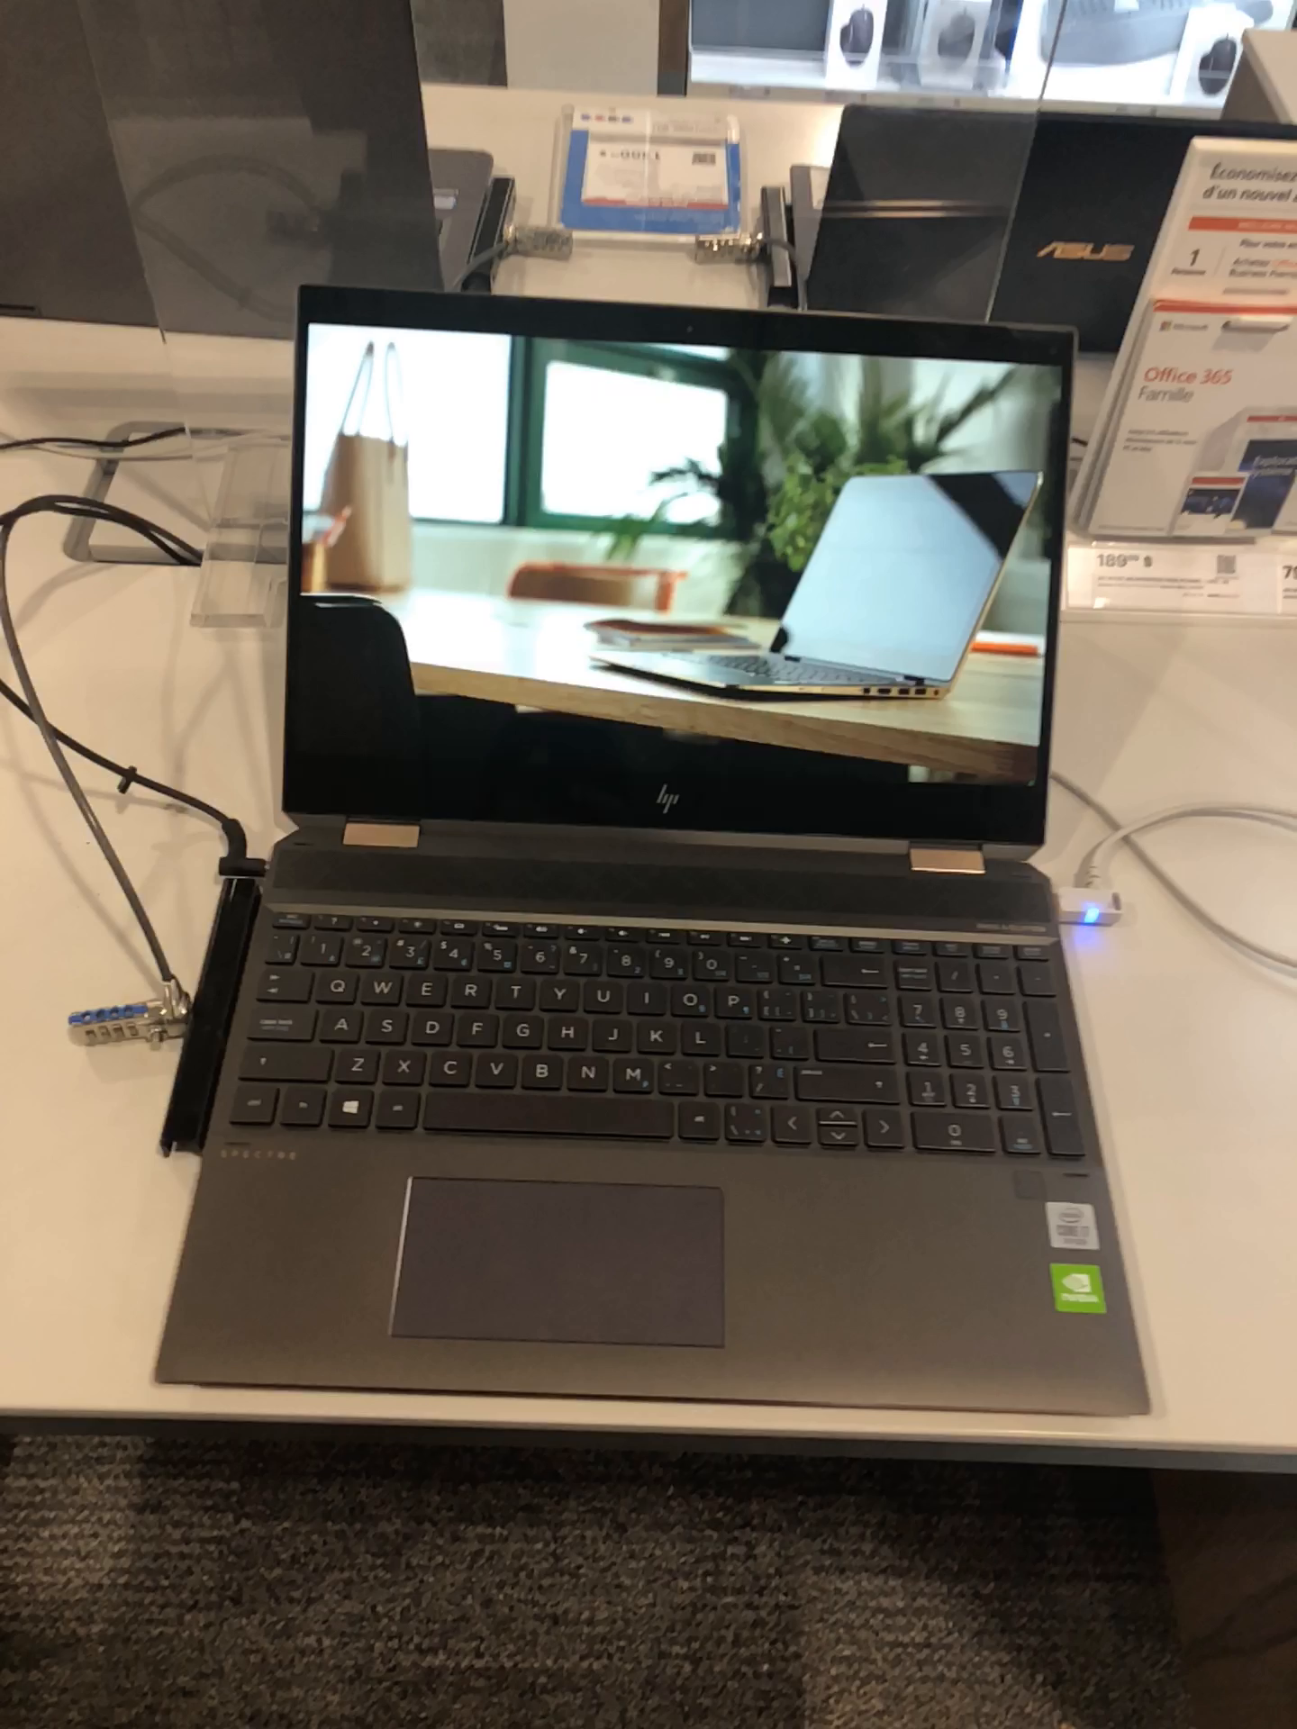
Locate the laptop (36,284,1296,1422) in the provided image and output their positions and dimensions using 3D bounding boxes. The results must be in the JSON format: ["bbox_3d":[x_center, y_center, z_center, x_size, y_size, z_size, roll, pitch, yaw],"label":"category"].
[{"bbox_3d":[0.008,-0.034,0.558,0.333,0.145,0.426,2,53,1],"label":"laptop"}]
